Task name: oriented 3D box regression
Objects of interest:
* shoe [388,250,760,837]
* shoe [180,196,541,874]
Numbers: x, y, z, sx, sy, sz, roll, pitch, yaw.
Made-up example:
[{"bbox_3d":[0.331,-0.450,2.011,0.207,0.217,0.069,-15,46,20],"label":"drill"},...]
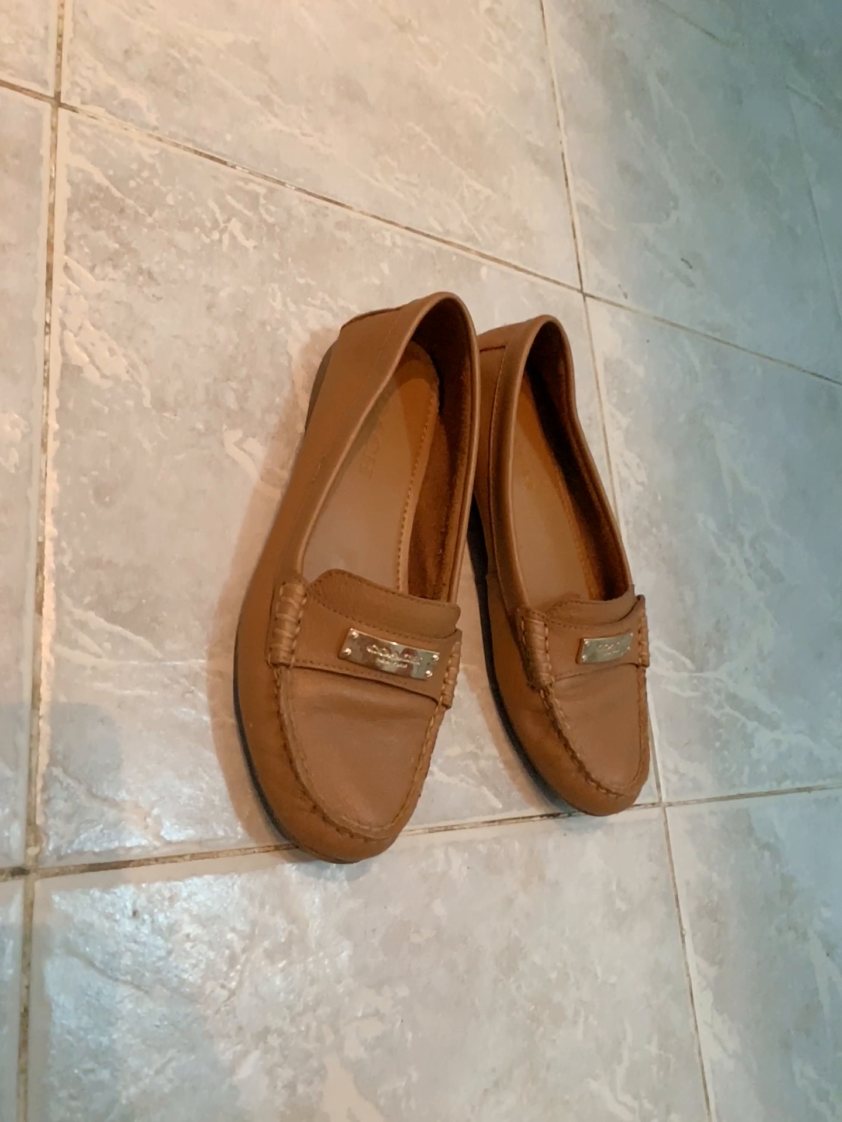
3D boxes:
[{"bbox_3d":[0.065,-0.008,0.394,0.085,0.071,0.242,-7,79,-36],"label":"shoe"},{"bbox_3d":[-0.016,-0.011,0.341,0.083,0.071,0.243,20,64,-28],"label":"shoe"}]
